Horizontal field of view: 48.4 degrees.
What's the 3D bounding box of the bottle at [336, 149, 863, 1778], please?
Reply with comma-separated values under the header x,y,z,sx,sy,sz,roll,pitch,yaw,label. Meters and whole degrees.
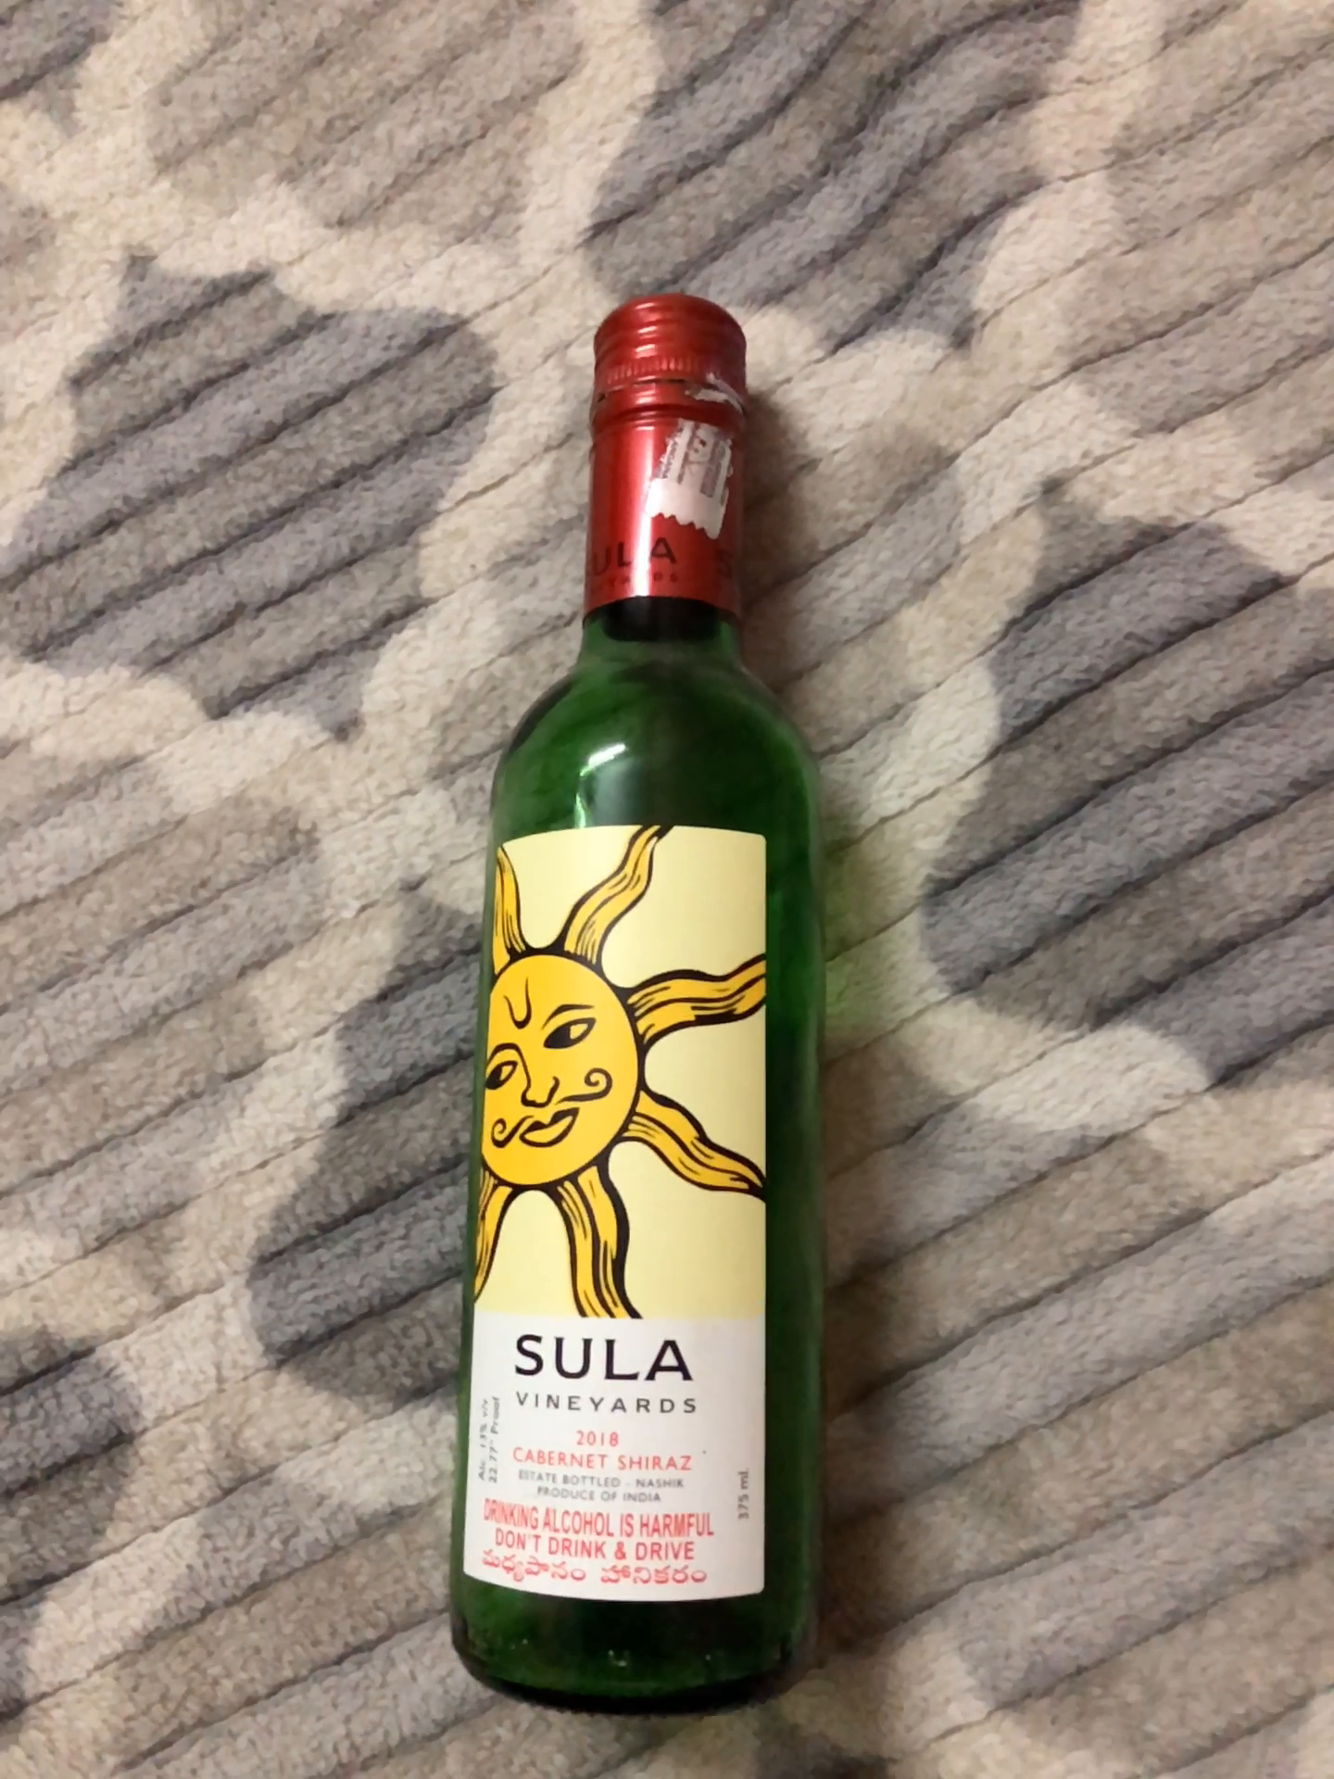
x,y,z,sx,sy,sz,roll,pitch,yaw,label
-0.004,0.010,0.228,0.060,0.050,0.230,-1,80,14,bottle
